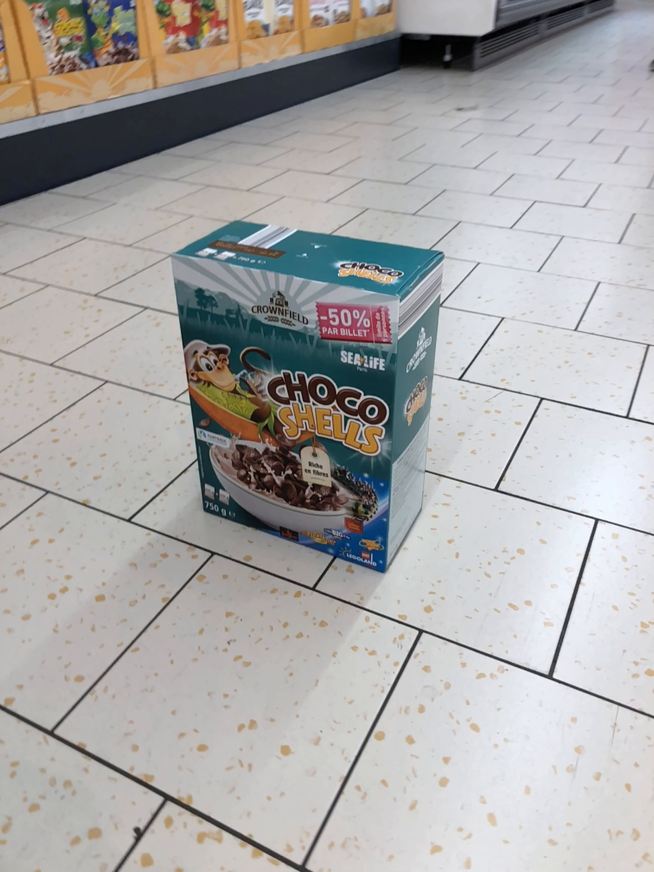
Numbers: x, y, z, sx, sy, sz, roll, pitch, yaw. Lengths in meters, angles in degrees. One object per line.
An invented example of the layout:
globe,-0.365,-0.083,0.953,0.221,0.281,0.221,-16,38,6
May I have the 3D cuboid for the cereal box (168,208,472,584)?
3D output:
cereal box,-0.005,-0.036,0.621,0.210,0.268,0.101,15,36,23
